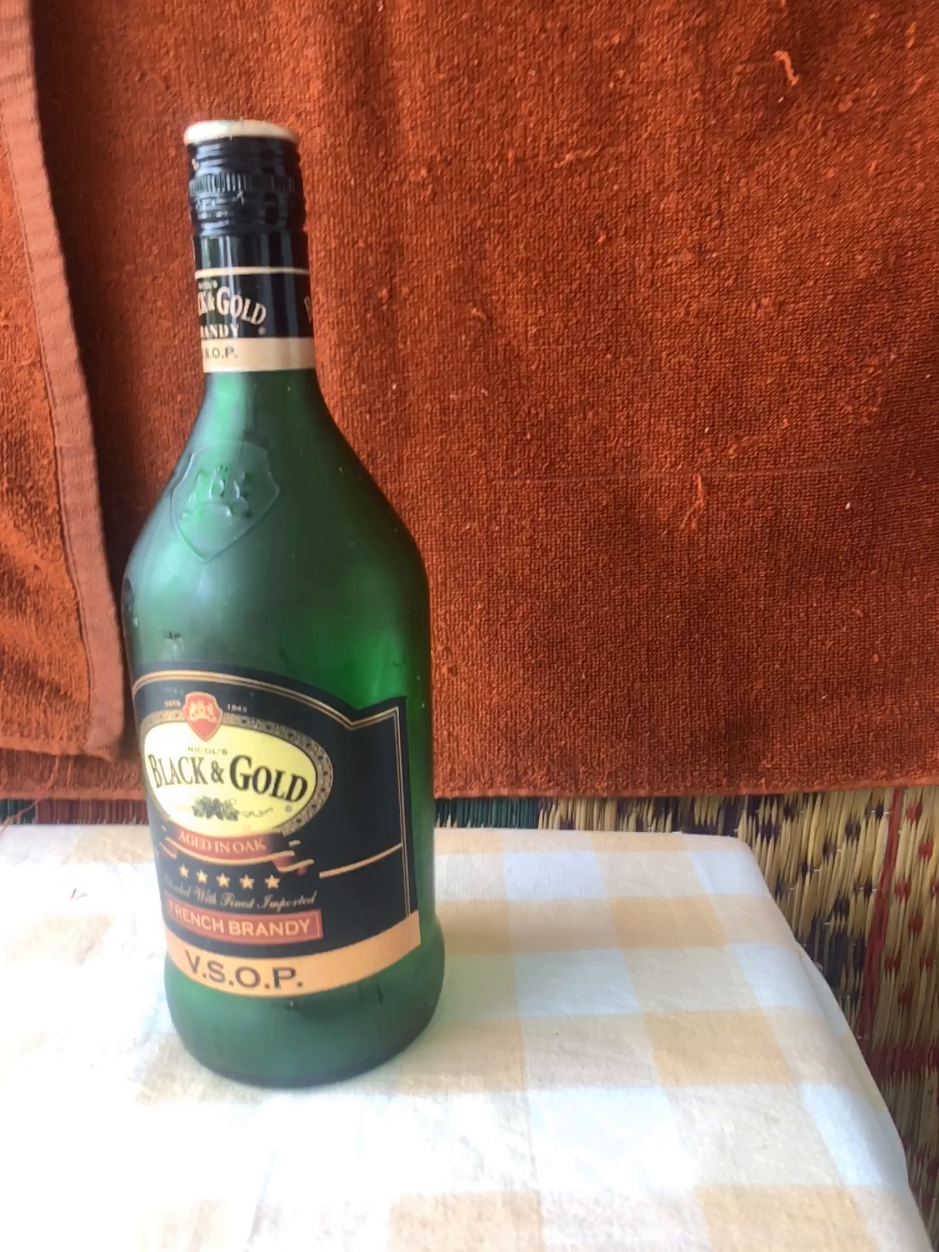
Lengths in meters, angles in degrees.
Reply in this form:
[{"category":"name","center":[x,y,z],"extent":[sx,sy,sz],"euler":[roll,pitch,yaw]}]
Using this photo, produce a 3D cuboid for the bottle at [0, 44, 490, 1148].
[{"category":"bottle","center":[-0.049,-0.003,0.286],"extent":[0.090,0.259,0.080],"euler":[5,16,17]}]
